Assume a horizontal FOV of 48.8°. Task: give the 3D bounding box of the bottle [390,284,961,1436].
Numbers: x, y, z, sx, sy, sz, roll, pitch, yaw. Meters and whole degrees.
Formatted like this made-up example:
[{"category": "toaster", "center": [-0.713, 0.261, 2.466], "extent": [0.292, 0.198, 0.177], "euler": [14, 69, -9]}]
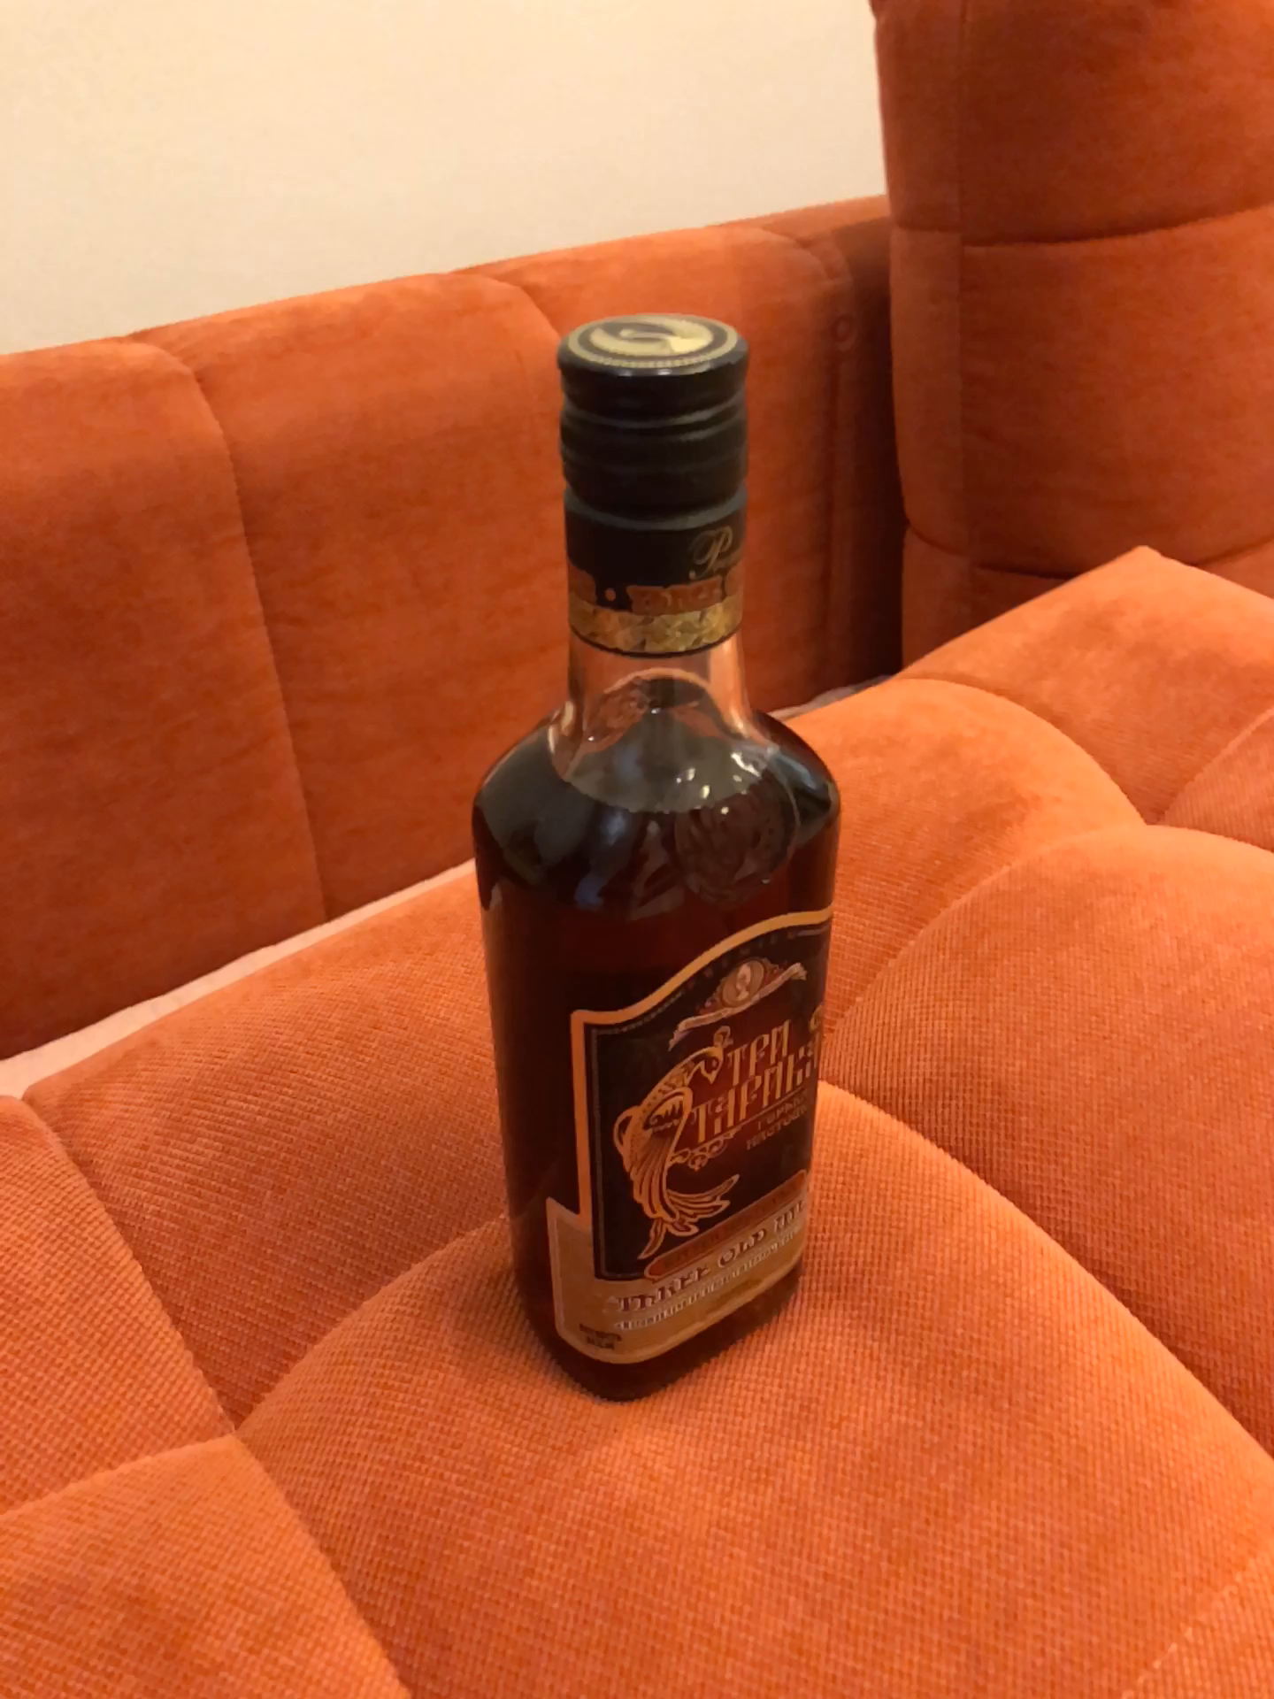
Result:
[{"category": "bottle", "center": [0.007, 0.016, 0.298], "extent": [0.074, 0.237, 0.056], "euler": [-23, 42, -28]}]
